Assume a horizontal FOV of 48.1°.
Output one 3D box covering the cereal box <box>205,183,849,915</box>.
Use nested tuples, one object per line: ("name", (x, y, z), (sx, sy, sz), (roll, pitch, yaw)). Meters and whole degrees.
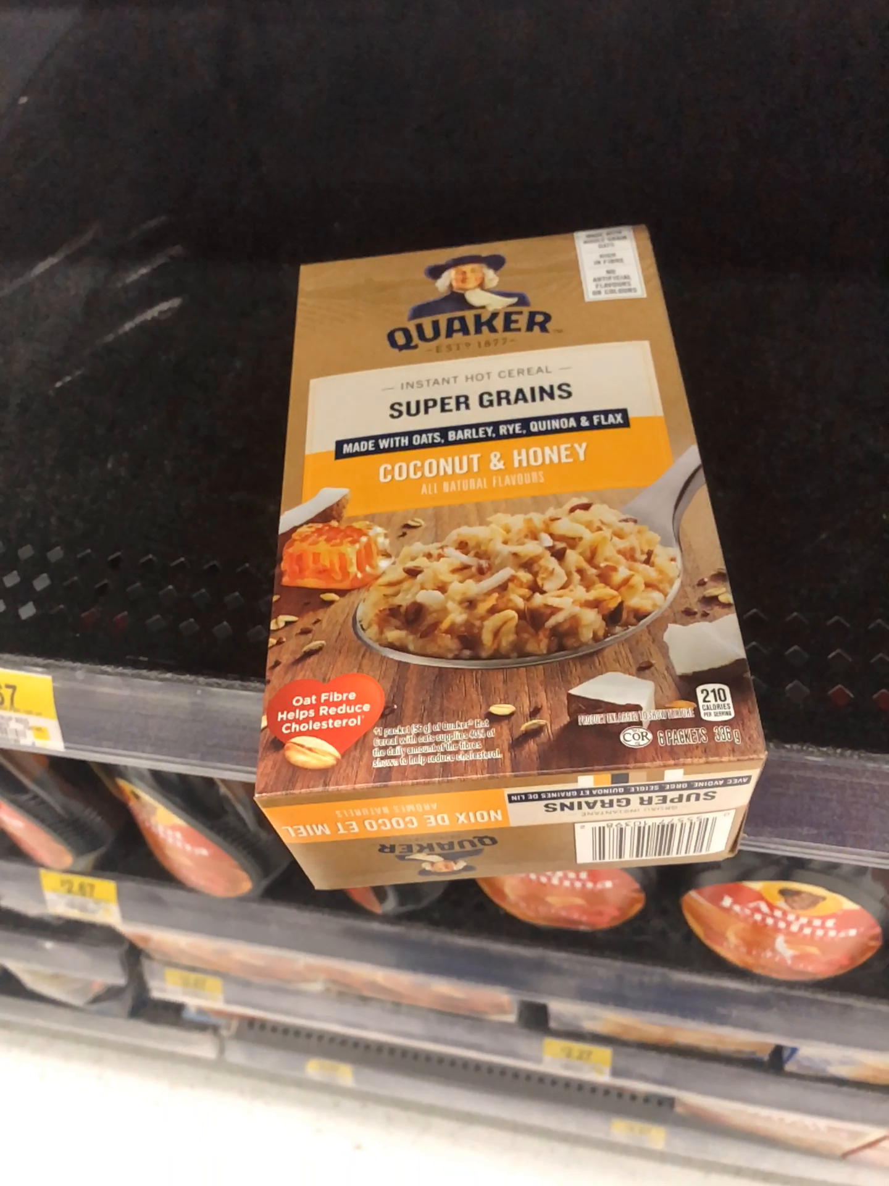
("cereal box", (0.019, -0.028, 0.310), (0.140, 0.060, 0.231), (-4, 53, 5))
